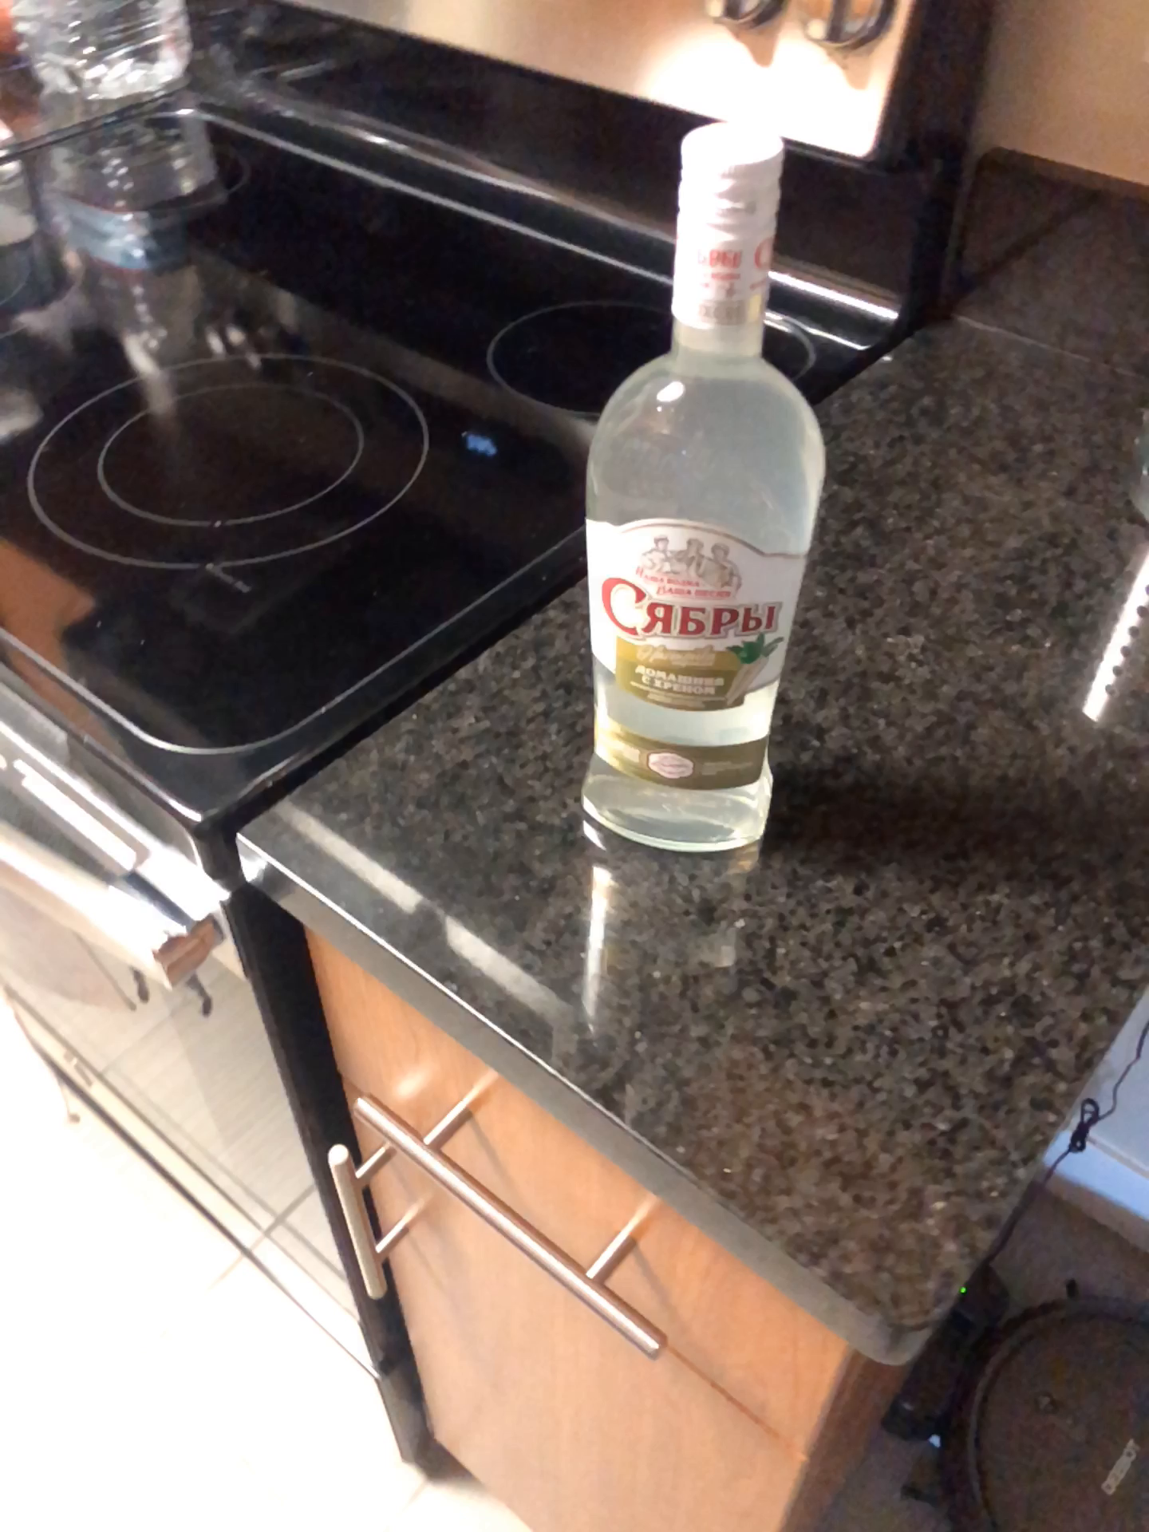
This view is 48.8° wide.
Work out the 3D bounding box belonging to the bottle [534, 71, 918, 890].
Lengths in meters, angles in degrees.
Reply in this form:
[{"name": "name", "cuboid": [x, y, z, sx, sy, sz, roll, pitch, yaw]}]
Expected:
[{"name": "bottle", "cuboid": [0.042, -0.077, 0.435, 0.090, 0.269, 0.060, 15, 47, 14]}]
